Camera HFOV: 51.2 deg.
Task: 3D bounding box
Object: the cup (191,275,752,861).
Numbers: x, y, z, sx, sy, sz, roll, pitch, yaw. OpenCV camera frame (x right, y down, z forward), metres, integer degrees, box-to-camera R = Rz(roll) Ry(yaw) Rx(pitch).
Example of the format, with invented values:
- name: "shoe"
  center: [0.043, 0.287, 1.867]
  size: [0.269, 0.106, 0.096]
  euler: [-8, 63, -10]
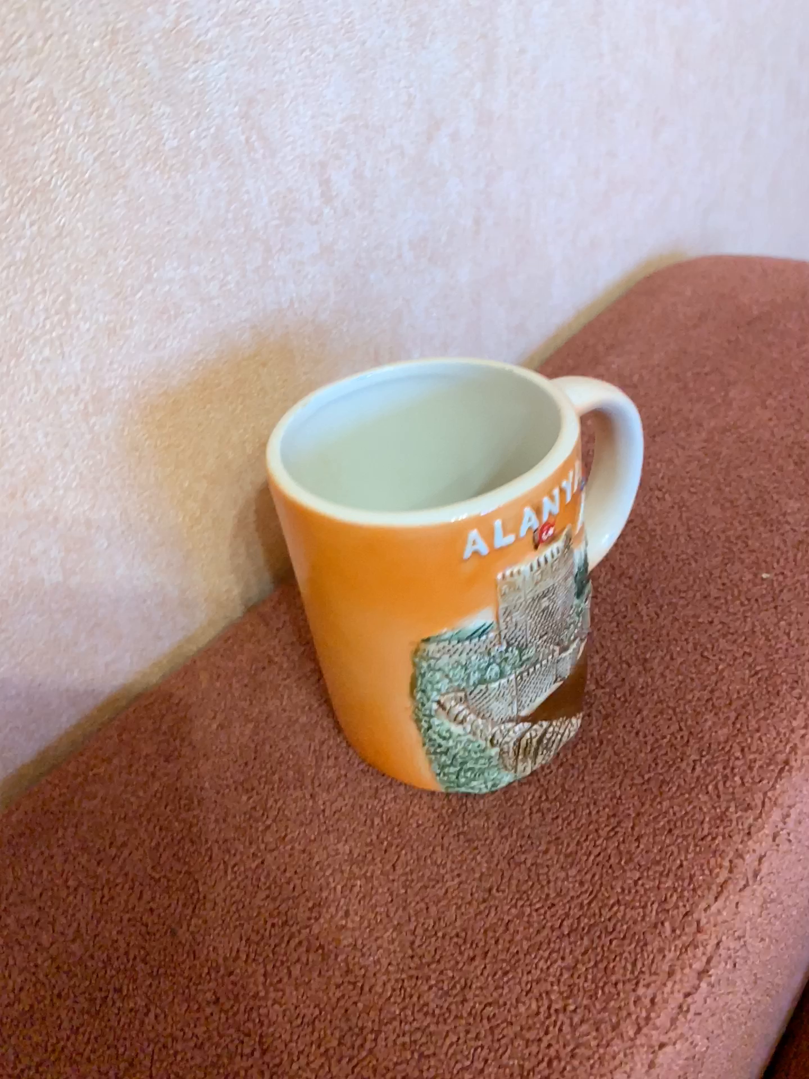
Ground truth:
- name: "cup"
  center: [0.024, 0.000, 0.250]
  size: [0.120, 0.098, 0.088]
  euler: [-36, 48, -29]
